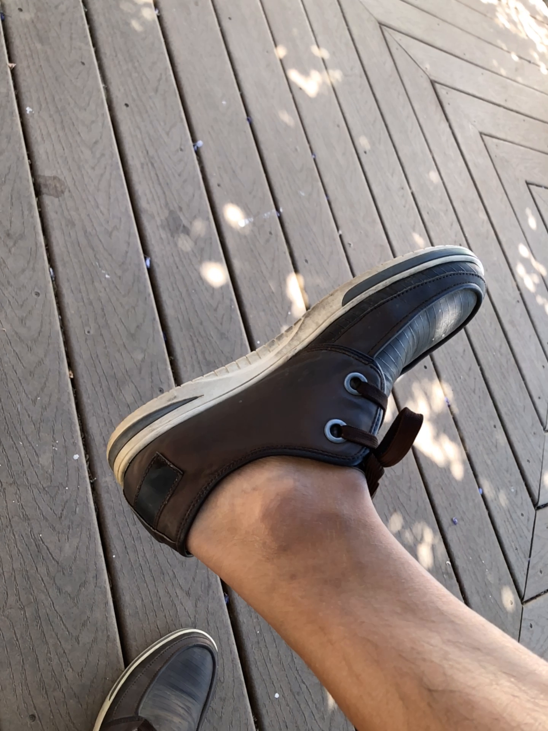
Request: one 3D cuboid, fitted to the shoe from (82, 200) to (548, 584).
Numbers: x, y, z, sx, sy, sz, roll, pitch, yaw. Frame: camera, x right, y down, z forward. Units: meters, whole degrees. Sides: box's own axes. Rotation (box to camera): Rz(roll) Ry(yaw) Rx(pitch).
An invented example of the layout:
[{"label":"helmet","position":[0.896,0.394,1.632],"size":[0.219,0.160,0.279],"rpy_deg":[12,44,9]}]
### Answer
[{"label":"shoe","position":[0.035,0.021,0.395],"size":[0.276,0.102,0.092],"rpy_deg":[-30,60,-4]}]
